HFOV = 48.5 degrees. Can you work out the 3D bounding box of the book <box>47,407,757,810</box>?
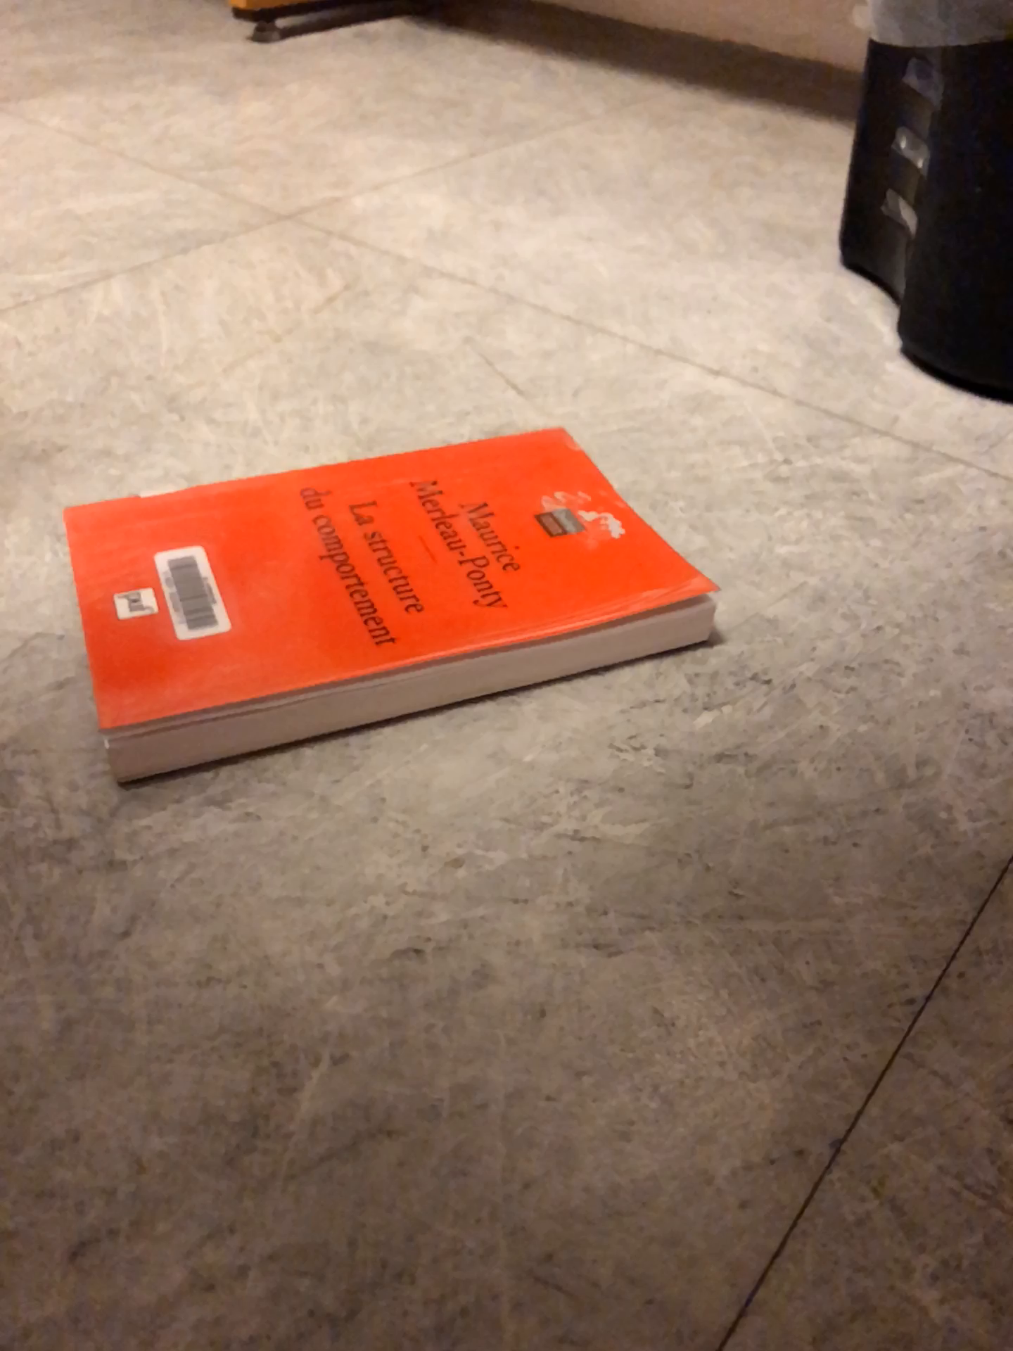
[{"bbox_3d":[-0.040,-0.035,0.374,0.201,0.020,0.135,-13,43,-17],"label":"book"}]
